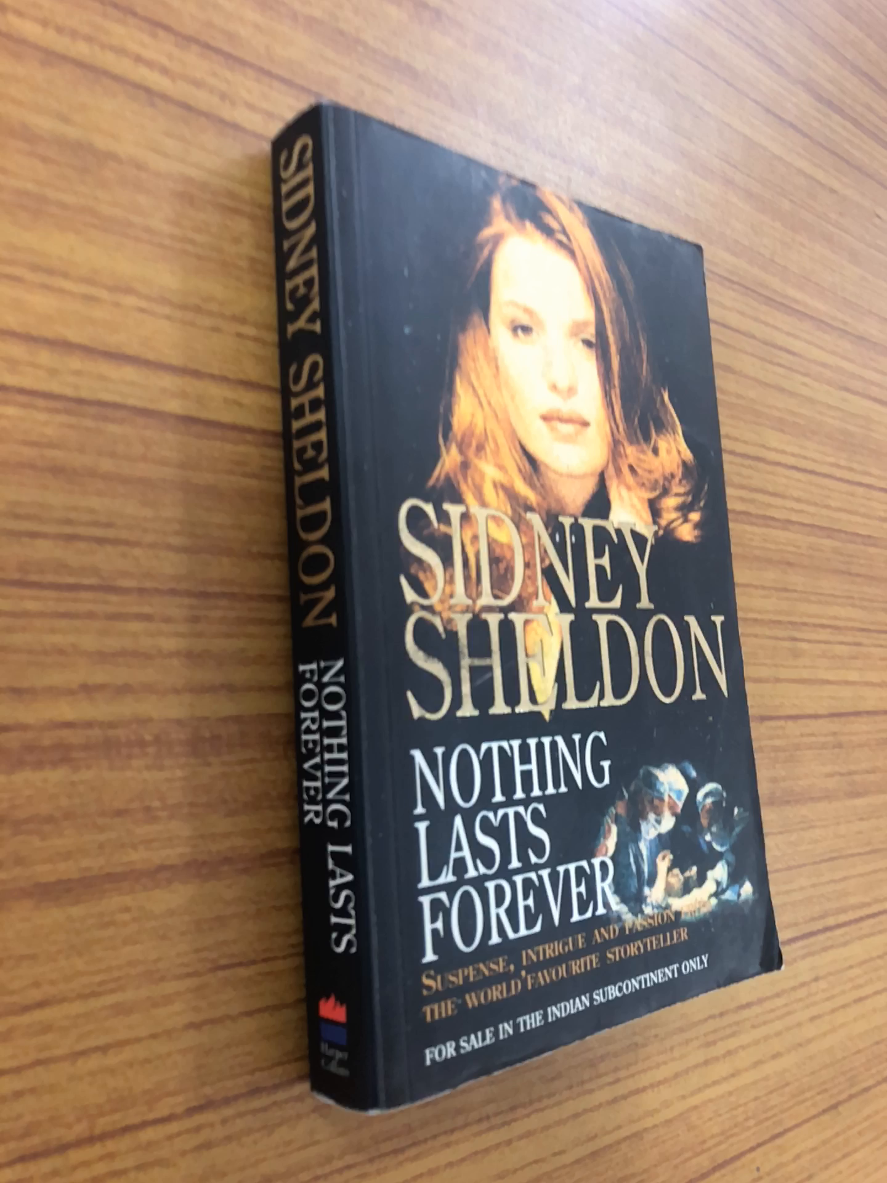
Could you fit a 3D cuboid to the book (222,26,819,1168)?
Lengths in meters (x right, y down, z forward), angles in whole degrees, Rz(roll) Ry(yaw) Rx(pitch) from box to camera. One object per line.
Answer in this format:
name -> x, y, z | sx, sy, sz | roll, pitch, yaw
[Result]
book -> 0.021, -0.001, 0.197 | 0.121, 0.030, 0.170 | 1, 83, -40
